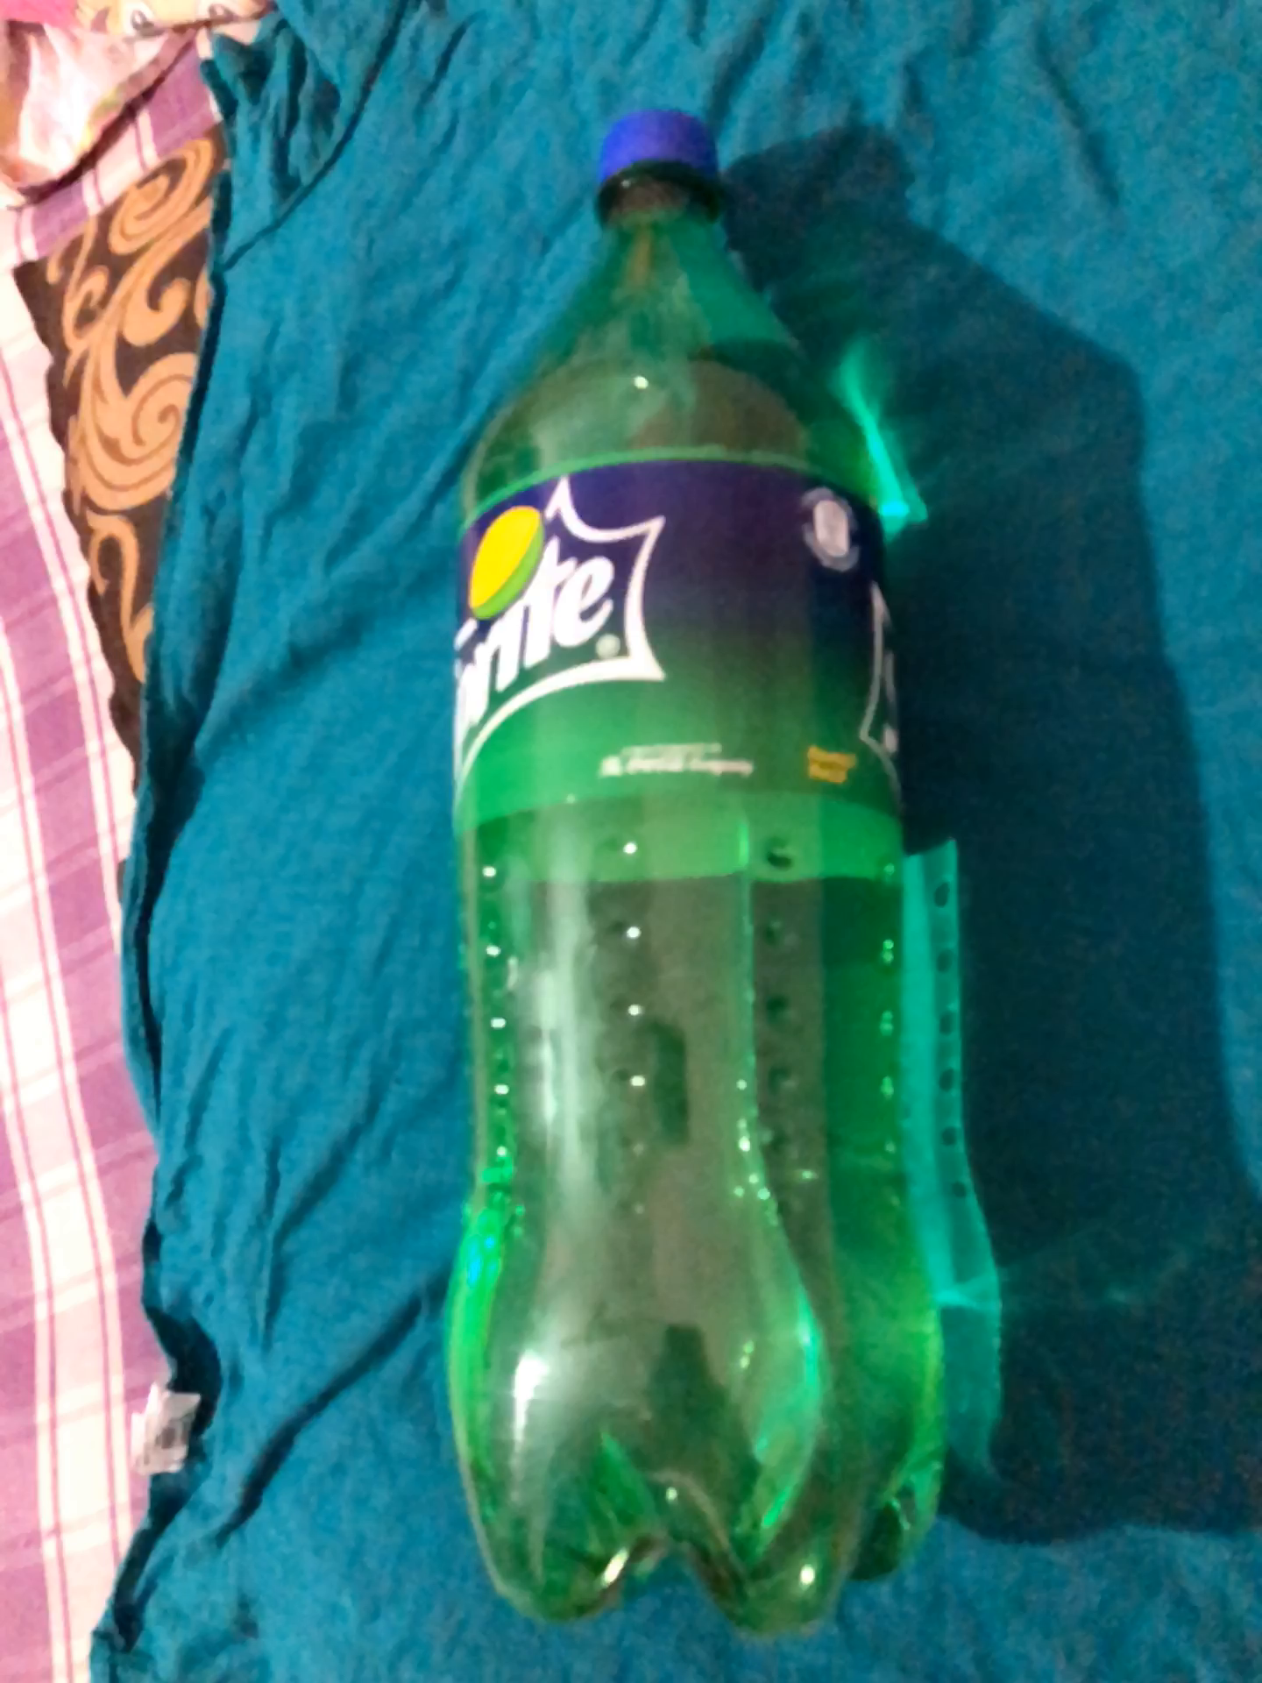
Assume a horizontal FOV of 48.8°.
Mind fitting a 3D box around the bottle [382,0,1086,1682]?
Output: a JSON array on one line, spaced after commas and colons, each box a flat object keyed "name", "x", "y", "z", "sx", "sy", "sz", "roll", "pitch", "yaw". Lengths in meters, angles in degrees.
[{"name": "bottle", "x": 0.012, "y": -0.021, "z": 0.298, "sx": 0.110, "sy": 0.070, "sz": 0.330, "roll": -12, "pitch": 76, "yaw": 40}]
